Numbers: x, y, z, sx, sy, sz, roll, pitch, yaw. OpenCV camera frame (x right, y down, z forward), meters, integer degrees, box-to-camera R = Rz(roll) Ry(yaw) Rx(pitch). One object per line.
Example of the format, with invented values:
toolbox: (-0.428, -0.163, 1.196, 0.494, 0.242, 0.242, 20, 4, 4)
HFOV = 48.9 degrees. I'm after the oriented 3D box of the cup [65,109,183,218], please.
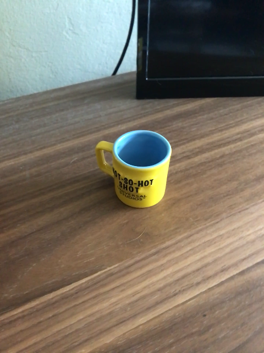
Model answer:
cup: (-0.006, -0.014, 0.283, 0.090, 0.060, 0.060, 17, 49, 14)
